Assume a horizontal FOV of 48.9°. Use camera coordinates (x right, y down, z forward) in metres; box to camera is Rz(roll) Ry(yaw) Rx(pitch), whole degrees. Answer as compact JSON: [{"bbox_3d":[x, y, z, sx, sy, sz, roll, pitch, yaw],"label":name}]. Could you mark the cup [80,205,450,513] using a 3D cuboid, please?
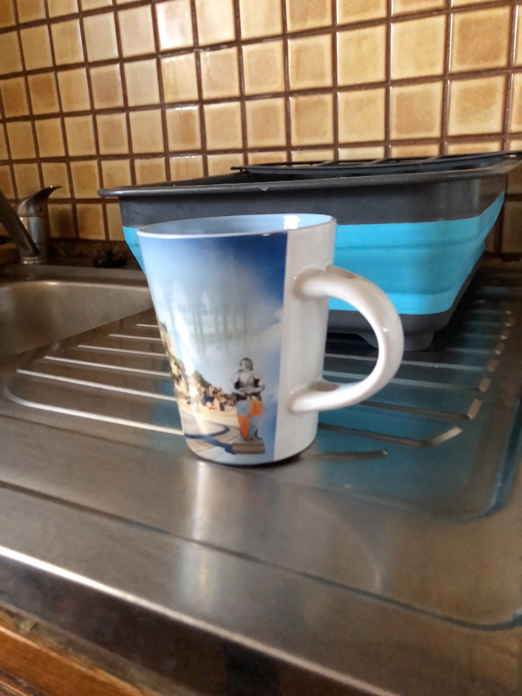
[{"bbox_3d":[0.005,-0.011,0.269,0.130,0.100,0.101,10,22,34],"label":"cup"}]
